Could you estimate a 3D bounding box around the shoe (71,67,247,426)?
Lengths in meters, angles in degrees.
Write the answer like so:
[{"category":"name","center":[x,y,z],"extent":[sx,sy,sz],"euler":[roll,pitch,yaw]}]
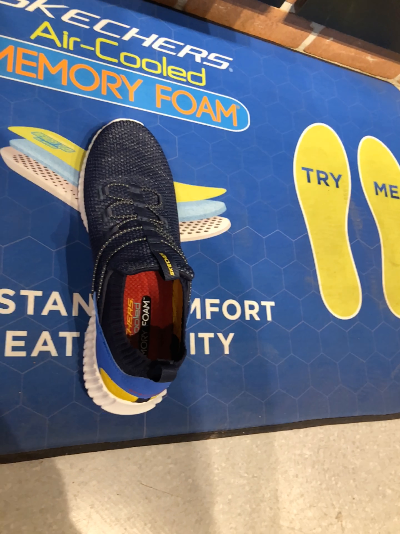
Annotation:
[{"category":"shoe","center":[-0.048,-0.015,0.398],"extent":[0.112,0.103,0.280],"euler":[2,74,-26]}]
